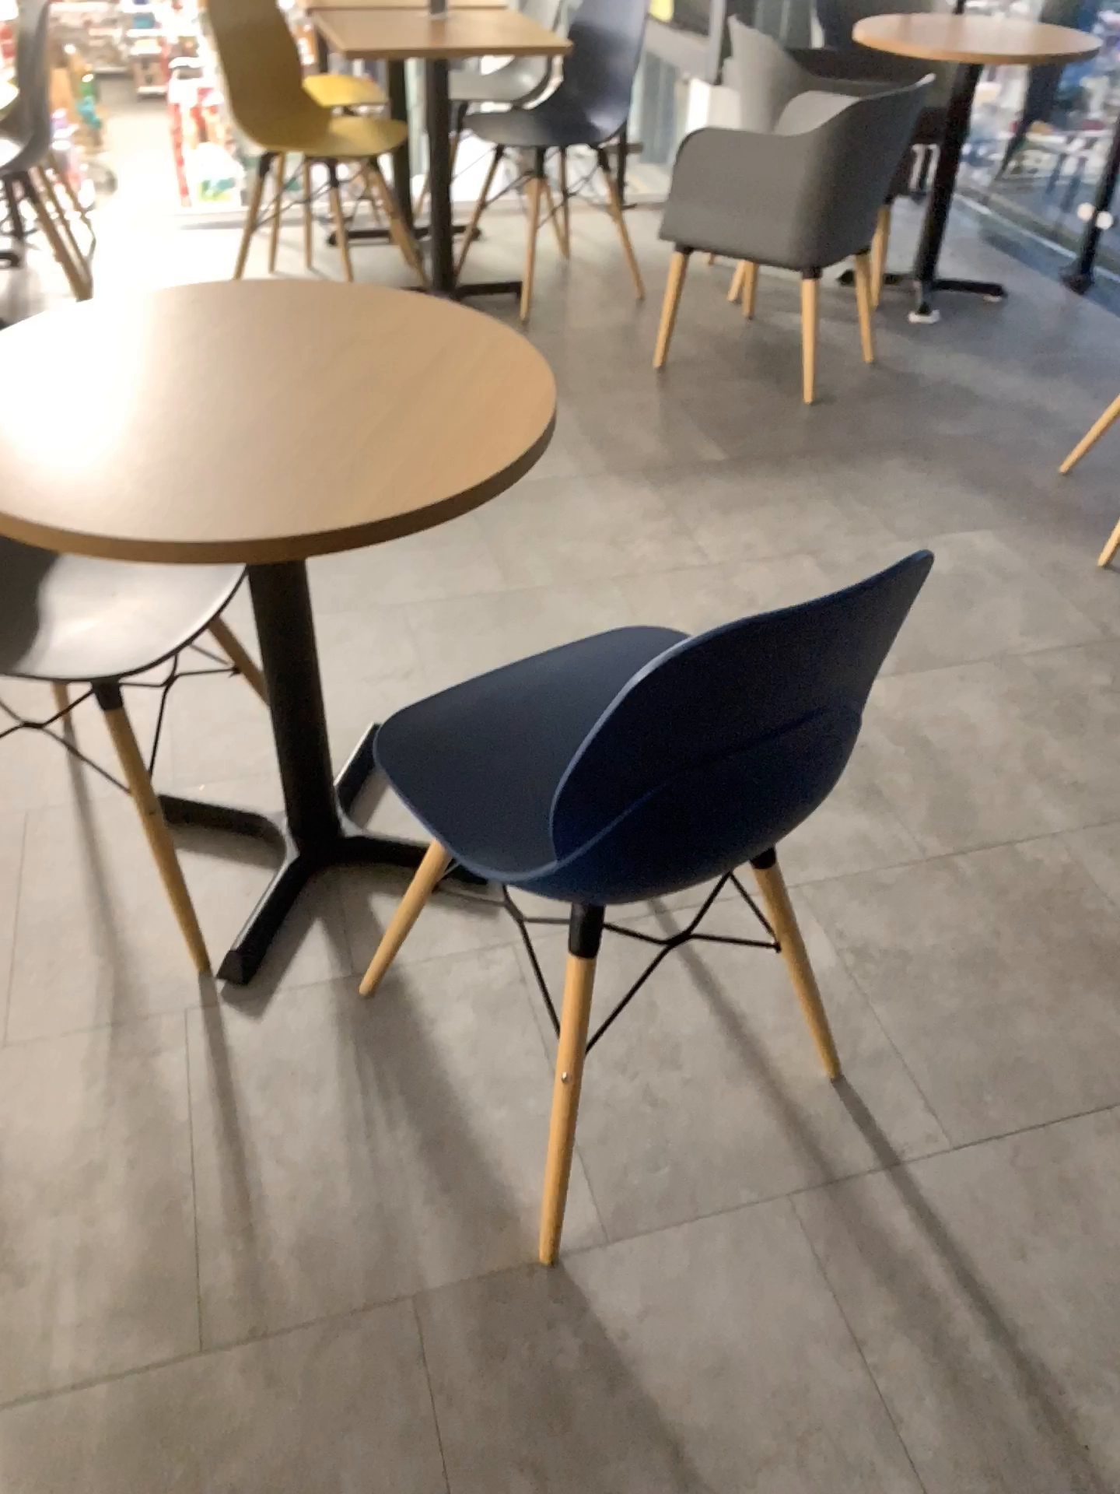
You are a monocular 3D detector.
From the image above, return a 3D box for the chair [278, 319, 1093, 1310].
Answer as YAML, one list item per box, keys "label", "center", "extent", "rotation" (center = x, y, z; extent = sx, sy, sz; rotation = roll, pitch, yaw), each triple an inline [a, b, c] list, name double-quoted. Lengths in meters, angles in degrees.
- label: "chair"
  center: [0.077, 0.068, 1.235]
  extent: [0.491, 0.808, 0.500]
  rotation: [-22, 45, -26]
